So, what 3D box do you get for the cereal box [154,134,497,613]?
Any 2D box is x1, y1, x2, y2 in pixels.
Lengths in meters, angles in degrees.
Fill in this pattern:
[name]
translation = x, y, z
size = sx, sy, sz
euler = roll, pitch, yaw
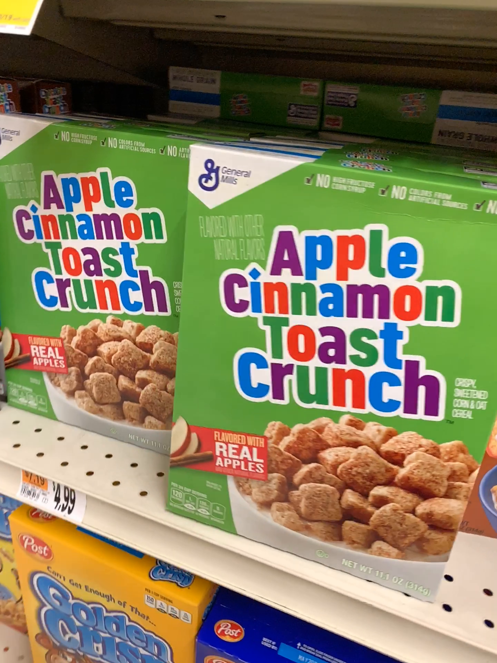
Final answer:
[cereal box]
translation = 0.051, 0.030, 0.332
size = 0.210, 0.269, 0.060
euler = 14, 26, 14
